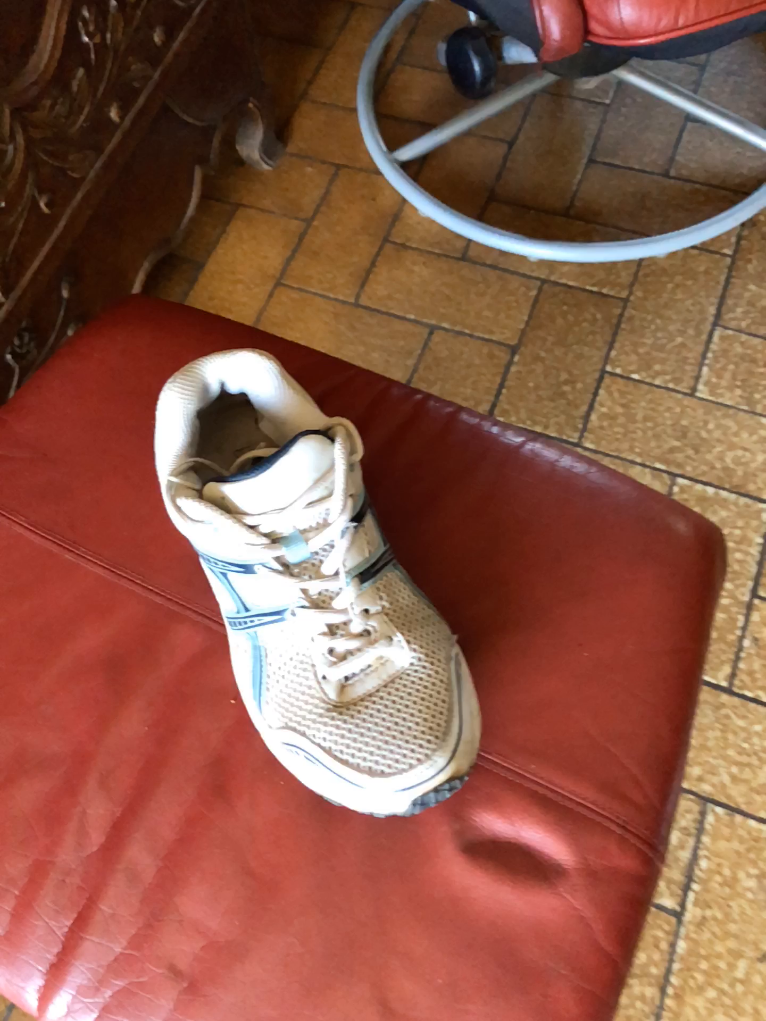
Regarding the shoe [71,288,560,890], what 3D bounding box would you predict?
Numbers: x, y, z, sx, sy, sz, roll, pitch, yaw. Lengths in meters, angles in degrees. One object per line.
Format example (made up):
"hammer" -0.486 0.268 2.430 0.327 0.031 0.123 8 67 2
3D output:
"shoe" -0.041 0.030 0.426 0.120 0.080 0.270 -28 66 -8
